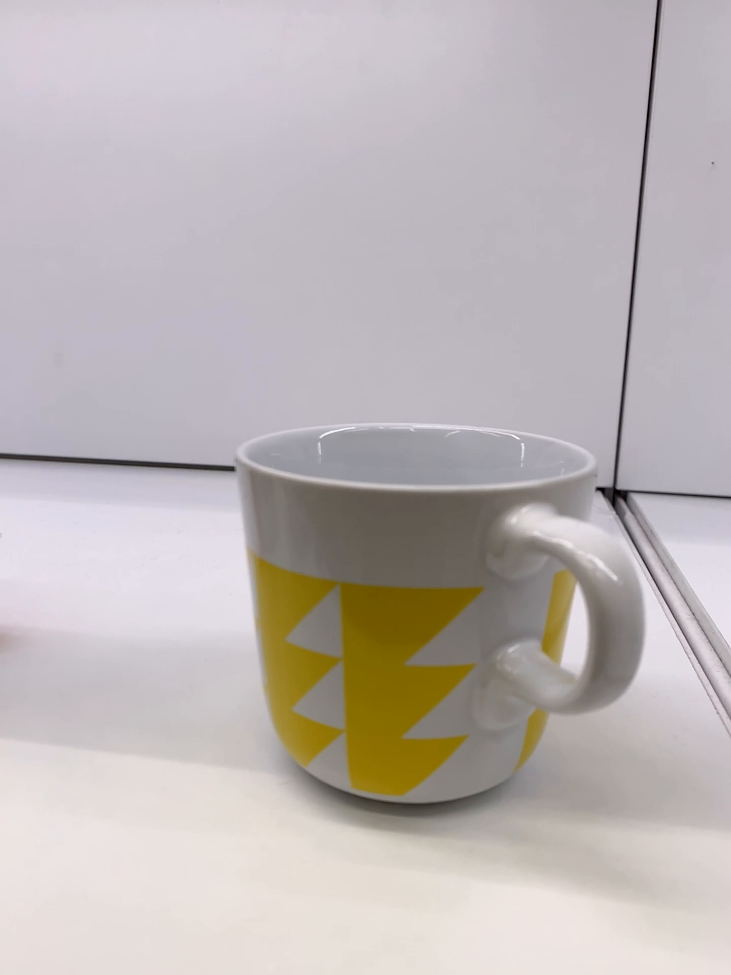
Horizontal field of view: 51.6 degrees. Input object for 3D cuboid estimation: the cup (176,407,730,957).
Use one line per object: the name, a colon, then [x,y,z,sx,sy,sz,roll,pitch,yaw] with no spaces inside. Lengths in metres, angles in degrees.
cup: [0.016,0.022,0.169,0.084,0.065,0.107,-6,14,-30]
